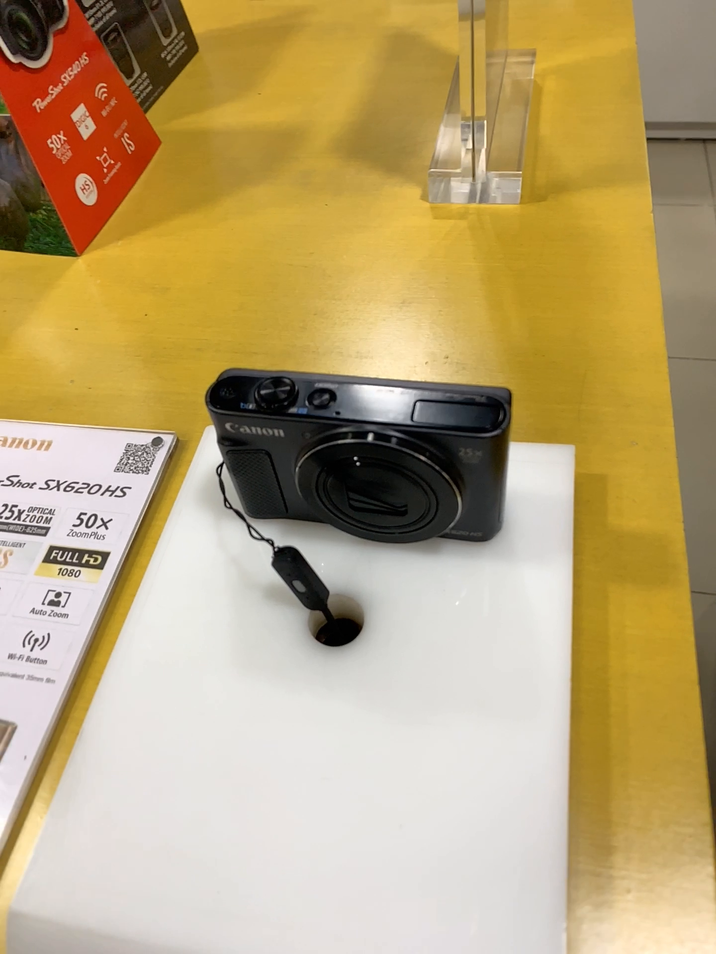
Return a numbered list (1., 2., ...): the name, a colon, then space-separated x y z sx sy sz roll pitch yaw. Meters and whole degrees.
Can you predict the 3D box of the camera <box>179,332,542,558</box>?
1. camera: 0.003 -0.009 0.233 0.100 0.060 0.030 7 53 12
